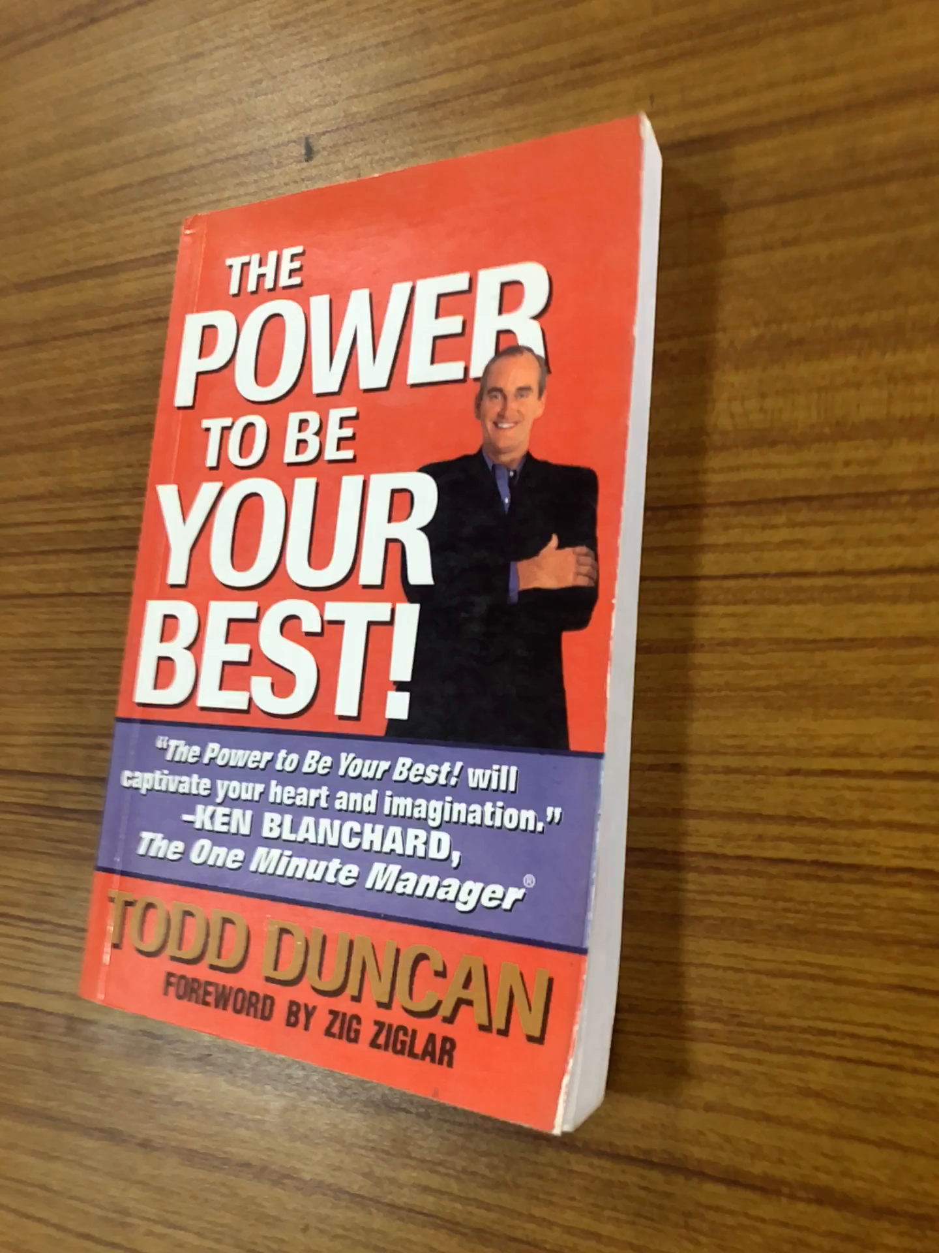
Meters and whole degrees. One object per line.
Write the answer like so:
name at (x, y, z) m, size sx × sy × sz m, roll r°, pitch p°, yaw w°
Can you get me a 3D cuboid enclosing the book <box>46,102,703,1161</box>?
book at (-0.026, -0.005, 0.263) m, size 0.151 × 0.030 × 0.220 m, roll 1°, pitch 82°, yaw 27°
